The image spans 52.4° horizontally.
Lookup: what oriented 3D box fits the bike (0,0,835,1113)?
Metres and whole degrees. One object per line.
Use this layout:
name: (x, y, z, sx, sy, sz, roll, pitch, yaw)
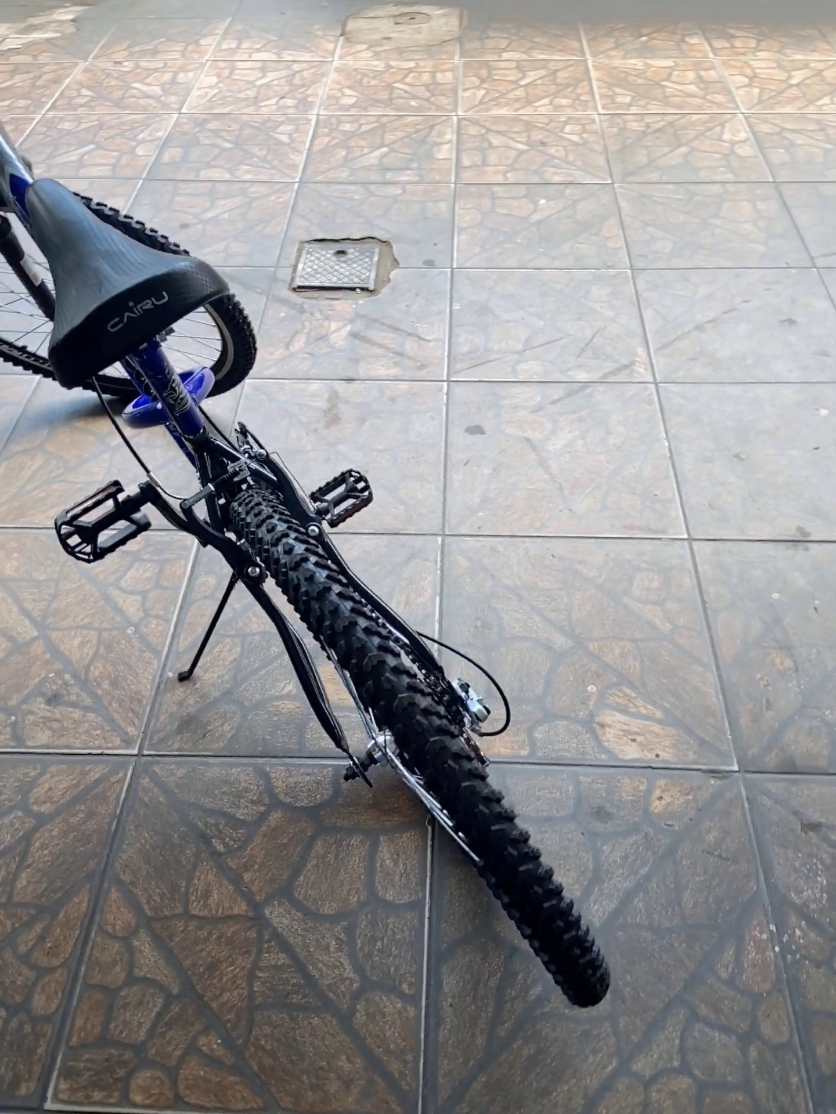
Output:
bike: (-0.510, -0.048, 1.029, 0.515, 1.019, 1.614, -36, 57, -23)
